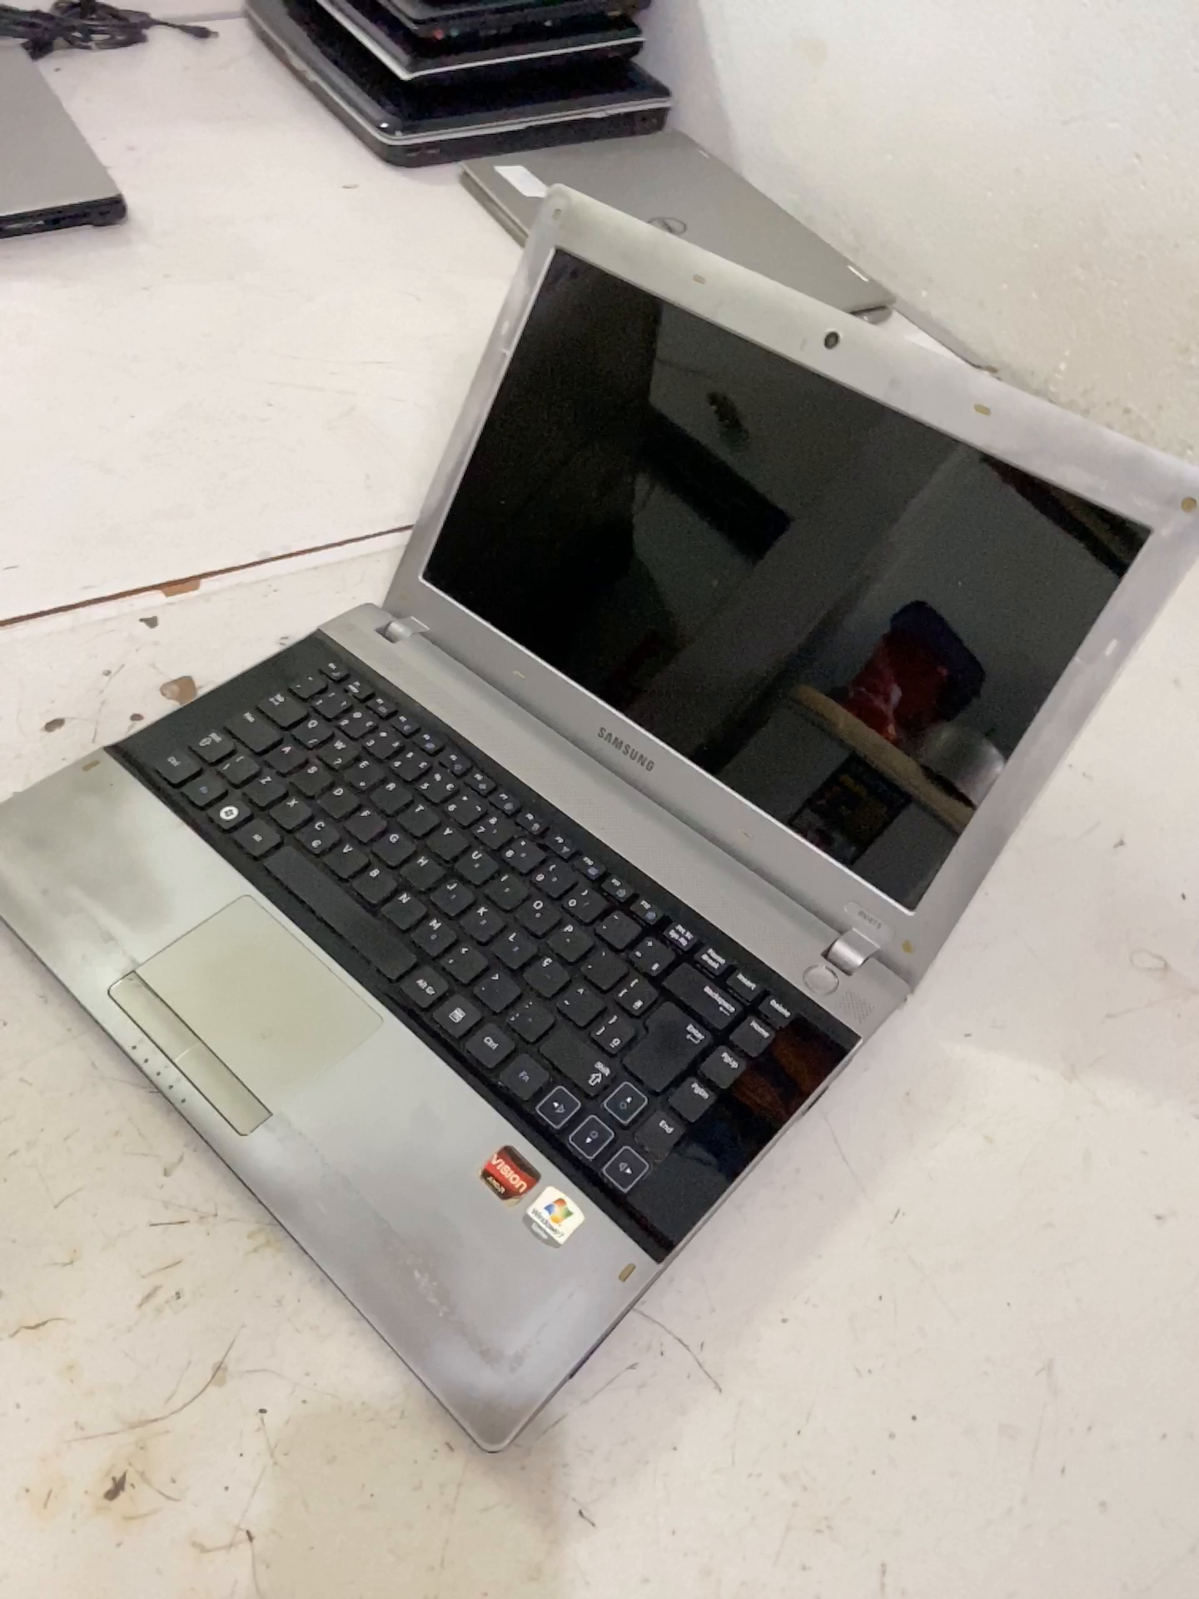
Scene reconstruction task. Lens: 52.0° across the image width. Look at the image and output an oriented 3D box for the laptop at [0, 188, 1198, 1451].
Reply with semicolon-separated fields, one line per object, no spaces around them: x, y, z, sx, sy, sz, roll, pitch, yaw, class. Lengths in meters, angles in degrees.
-0.030;-0.046;0.484;0.342;0.180;0.368;36;55;26;laptop
